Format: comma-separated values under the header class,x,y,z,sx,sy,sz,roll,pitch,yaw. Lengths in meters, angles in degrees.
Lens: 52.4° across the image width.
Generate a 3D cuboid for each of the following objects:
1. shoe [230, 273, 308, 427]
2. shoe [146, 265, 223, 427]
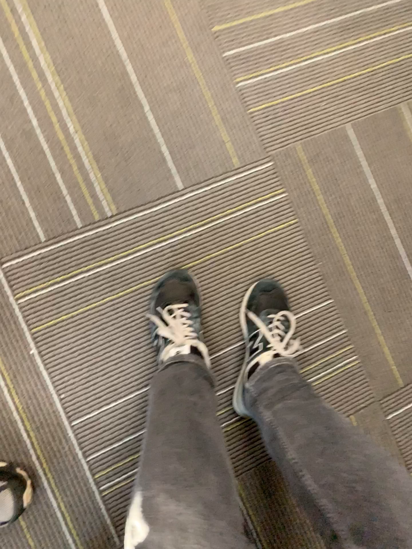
class,x,y,z,sx,sy,sz,roll,pitch,yaw
shoe,0.129,0.153,0.867,0.119,0.071,0.294,7,84,-10
shoe,-0.046,0.135,0.834,0.121,0.071,0.295,-4,86,-11
